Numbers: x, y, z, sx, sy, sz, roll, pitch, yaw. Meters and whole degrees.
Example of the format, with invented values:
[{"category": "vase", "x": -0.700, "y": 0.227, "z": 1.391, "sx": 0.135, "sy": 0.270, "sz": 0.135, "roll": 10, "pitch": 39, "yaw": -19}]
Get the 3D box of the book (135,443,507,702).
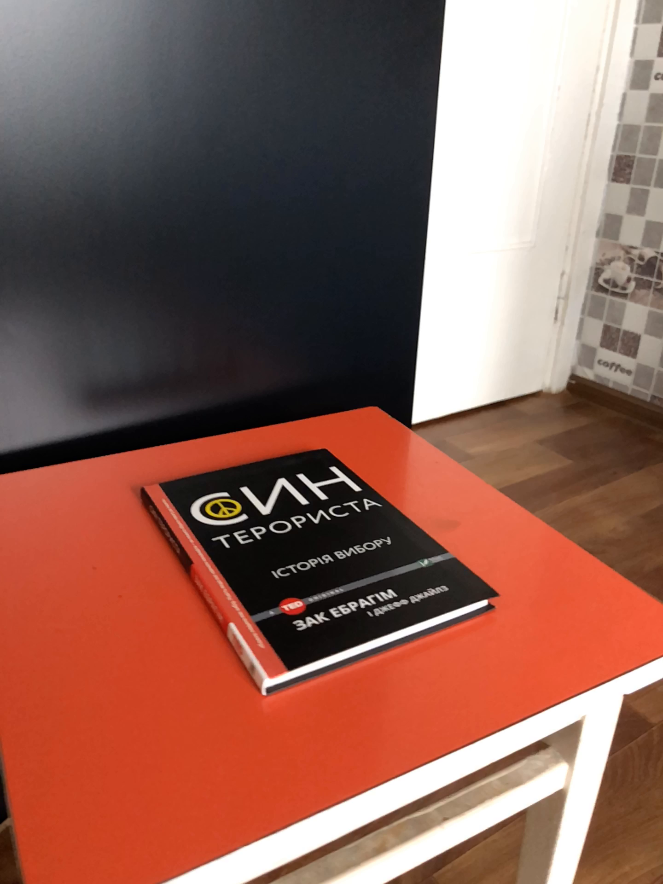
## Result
[{"category": "book", "x": -0.018, "y": 0.061, "z": 0.452, "sx": 0.150, "sy": 0.013, "sz": 0.206, "roll": -12, "pitch": 29, "yaw": -27}]
